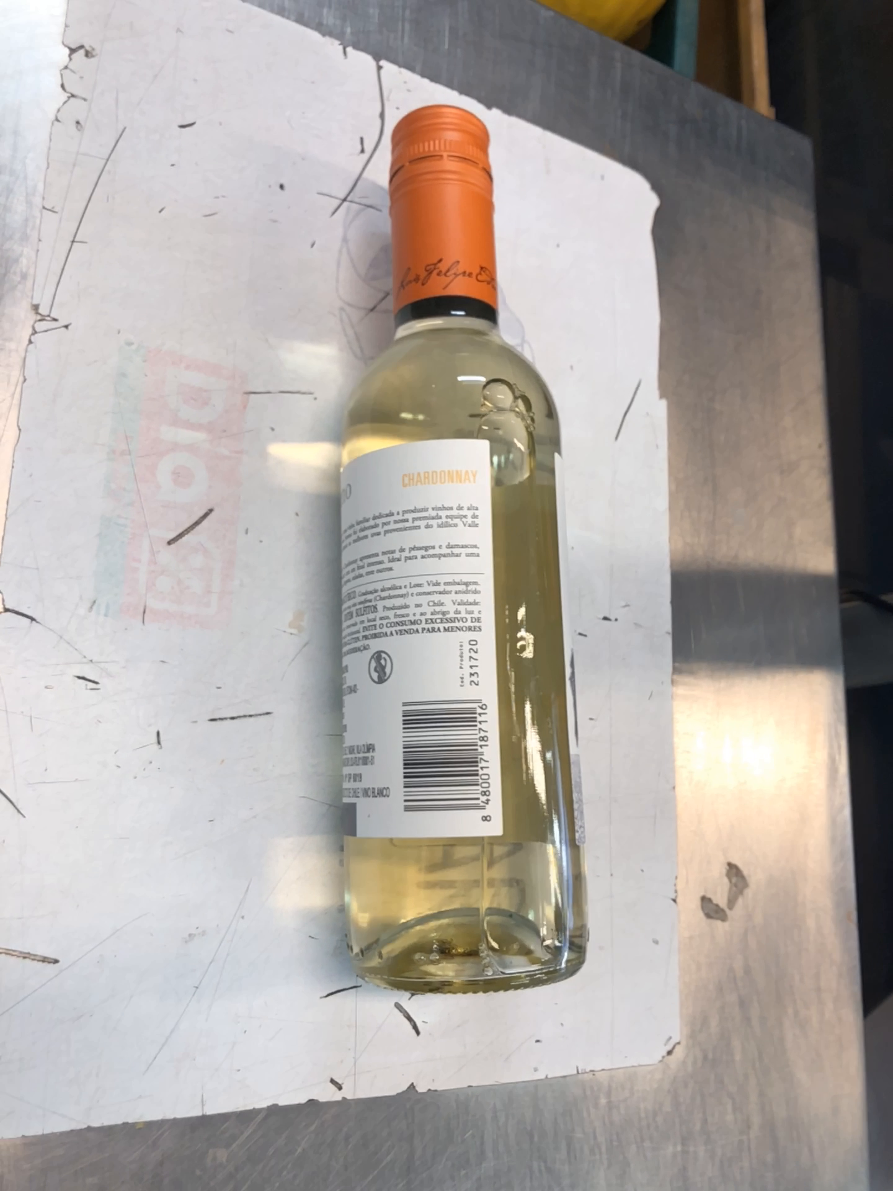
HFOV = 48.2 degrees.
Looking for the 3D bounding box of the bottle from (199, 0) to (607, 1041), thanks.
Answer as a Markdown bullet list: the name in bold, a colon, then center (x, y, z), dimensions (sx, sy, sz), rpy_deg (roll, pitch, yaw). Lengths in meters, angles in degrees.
- **bottle**: center (-0.012, -0.037, 0.267), dimensions (0.070, 0.070, 0.270), rpy_deg (12, 74, -49)
